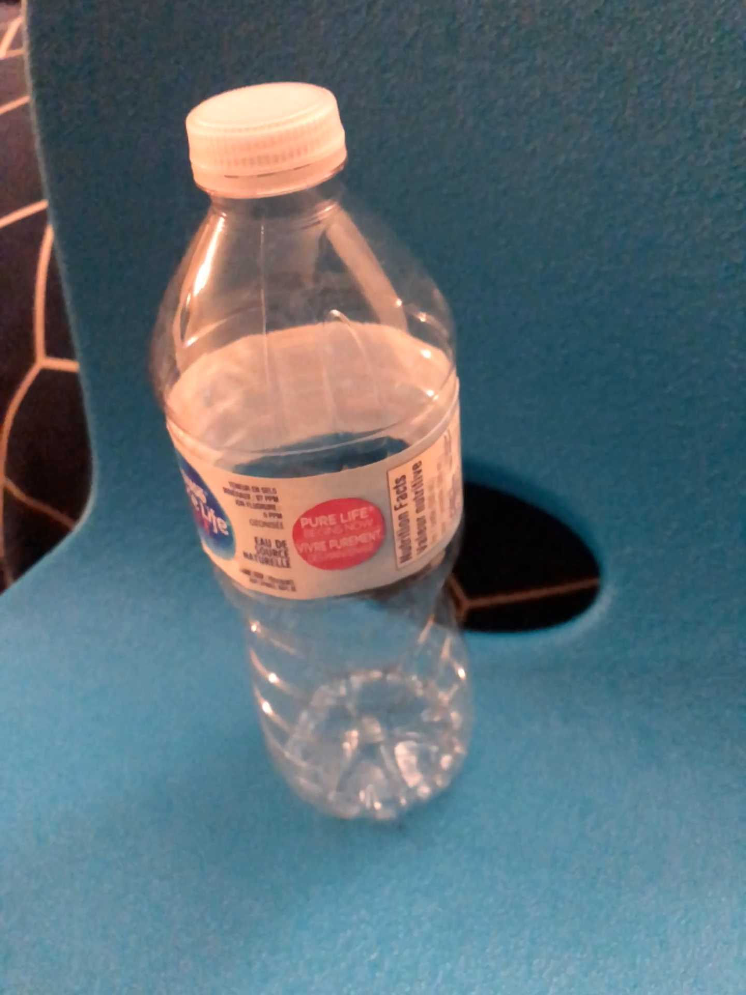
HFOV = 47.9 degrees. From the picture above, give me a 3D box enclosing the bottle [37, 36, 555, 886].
[{"bbox_3d":[-0.011,0.000,0.210,0.070,0.189,0.070,-3,37,2],"label":"bottle"}]
